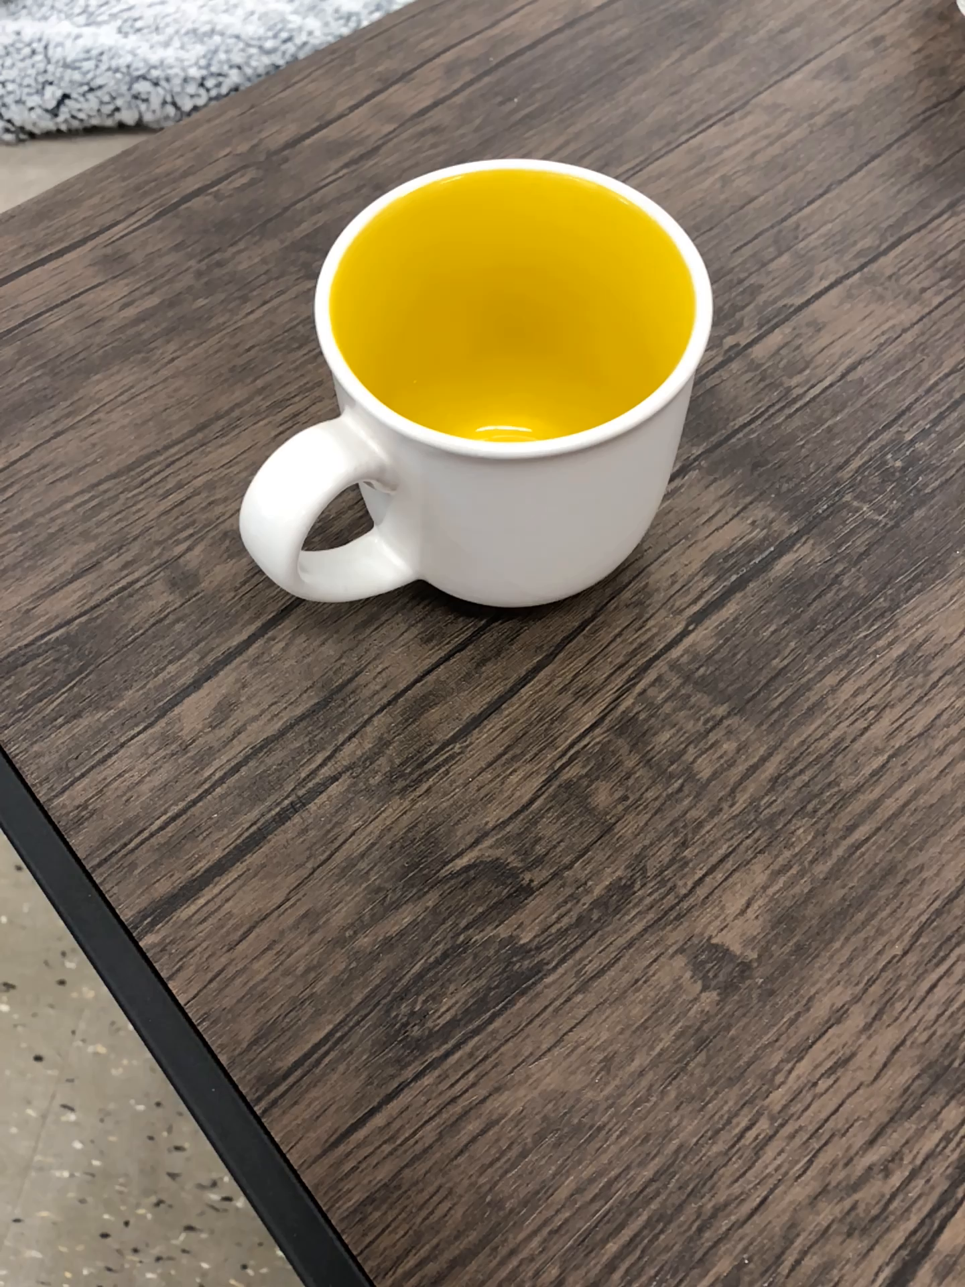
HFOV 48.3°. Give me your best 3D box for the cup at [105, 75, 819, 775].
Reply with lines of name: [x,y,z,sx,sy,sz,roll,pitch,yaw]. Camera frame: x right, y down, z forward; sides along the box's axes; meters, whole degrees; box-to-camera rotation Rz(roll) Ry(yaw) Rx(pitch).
cup: [-0.003,-0.052,0.273,0.130,0.100,0.080,-34,66,-16]
